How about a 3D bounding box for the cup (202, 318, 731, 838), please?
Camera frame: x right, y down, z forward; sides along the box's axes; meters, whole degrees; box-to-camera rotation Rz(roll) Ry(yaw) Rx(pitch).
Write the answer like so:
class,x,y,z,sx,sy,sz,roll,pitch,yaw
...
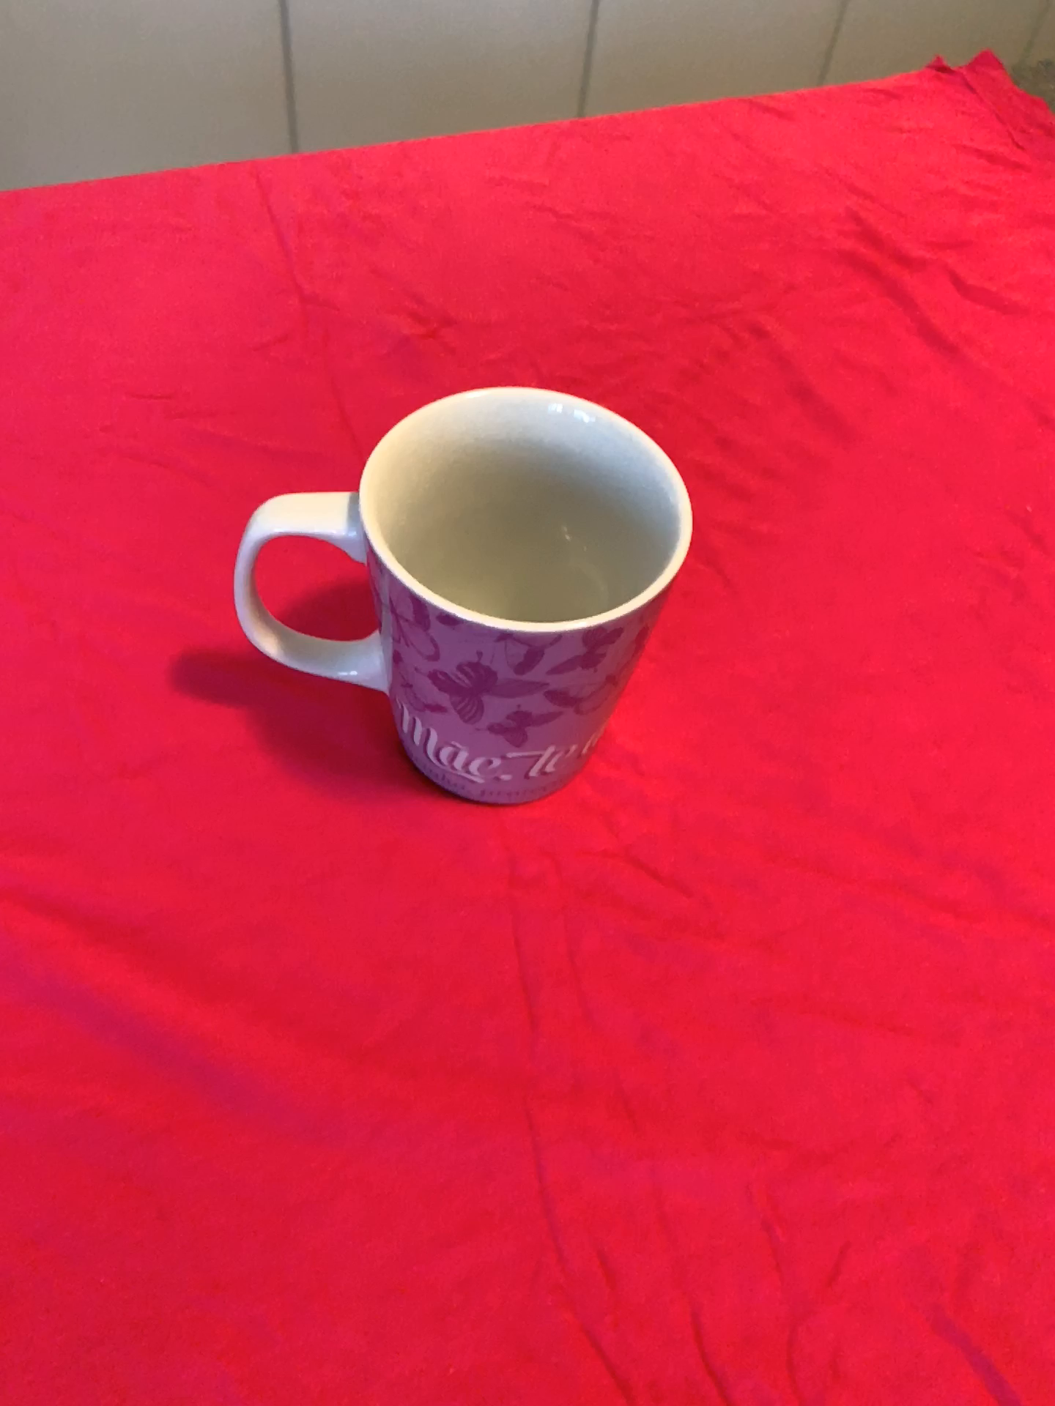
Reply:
class,x,y,z,sx,sy,sz,roll,pitch,yaw
cup,-0.016,-0.028,0.290,0.110,0.100,0.080,6,55,-4
